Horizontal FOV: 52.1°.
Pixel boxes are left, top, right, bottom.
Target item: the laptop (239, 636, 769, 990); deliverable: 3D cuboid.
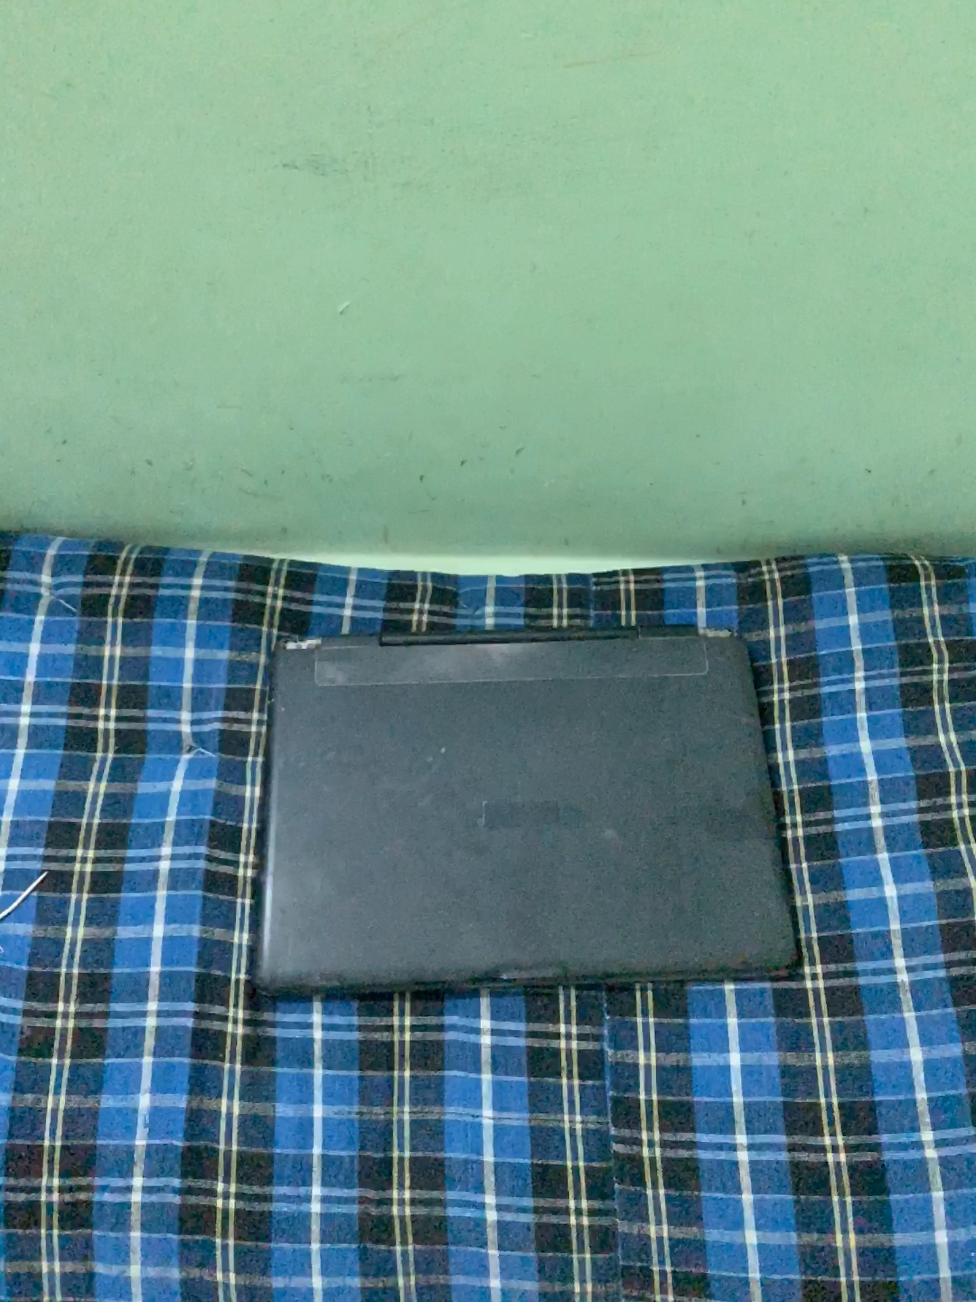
[{"bbox_3d":[0.004,0.097,0.652,0.323,0.005,0.216,-3,66,-3],"label":"laptop"}]
